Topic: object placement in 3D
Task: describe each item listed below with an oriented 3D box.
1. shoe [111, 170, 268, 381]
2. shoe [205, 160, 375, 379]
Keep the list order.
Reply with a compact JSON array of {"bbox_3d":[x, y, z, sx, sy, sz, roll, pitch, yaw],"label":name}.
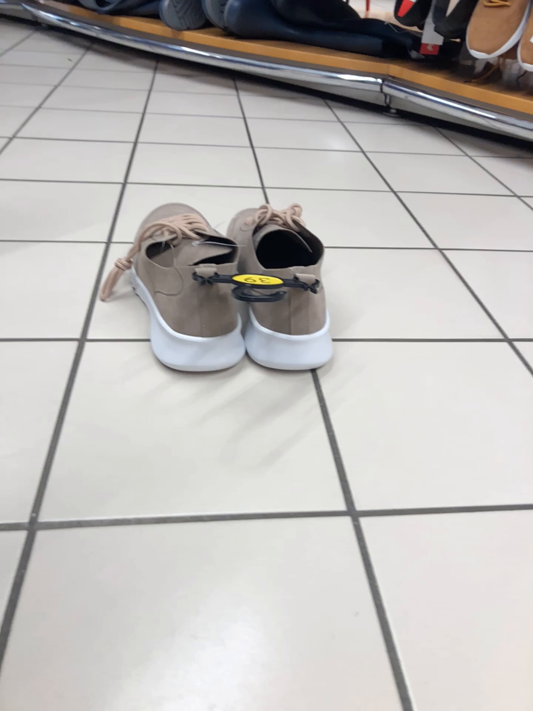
[{"bbox_3d":[-0.084,-0.092,0.552,0.100,0.079,0.259,-6,37,-15],"label":"shoe"},{"bbox_3d":[0.005,-0.098,0.566,0.100,0.099,0.255,-3,36,-12],"label":"shoe"}]
